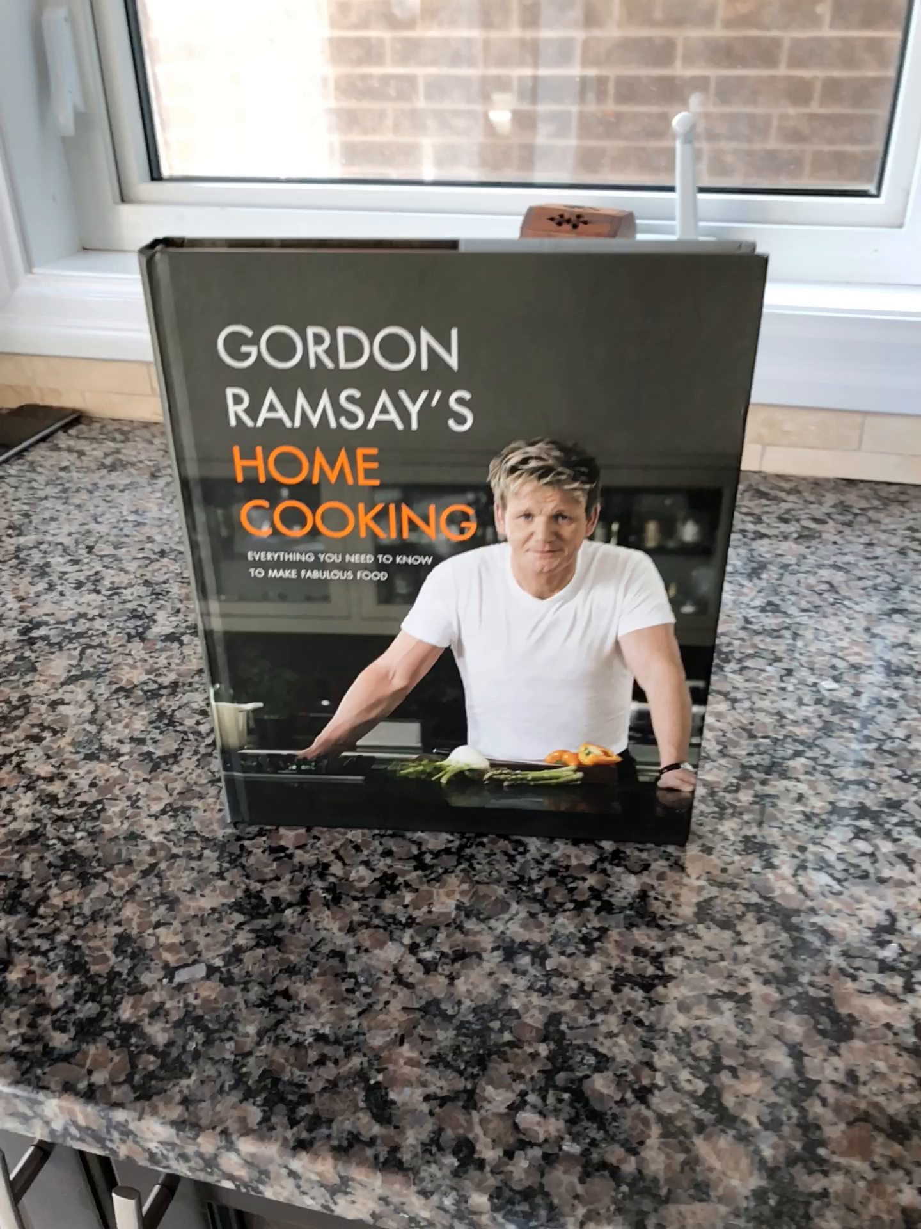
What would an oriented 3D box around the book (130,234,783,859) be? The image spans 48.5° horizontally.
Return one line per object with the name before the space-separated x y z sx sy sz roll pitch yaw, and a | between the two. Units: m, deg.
book | -0.002 -0.014 0.415 0.217 0.261 0.028 2 30 4
